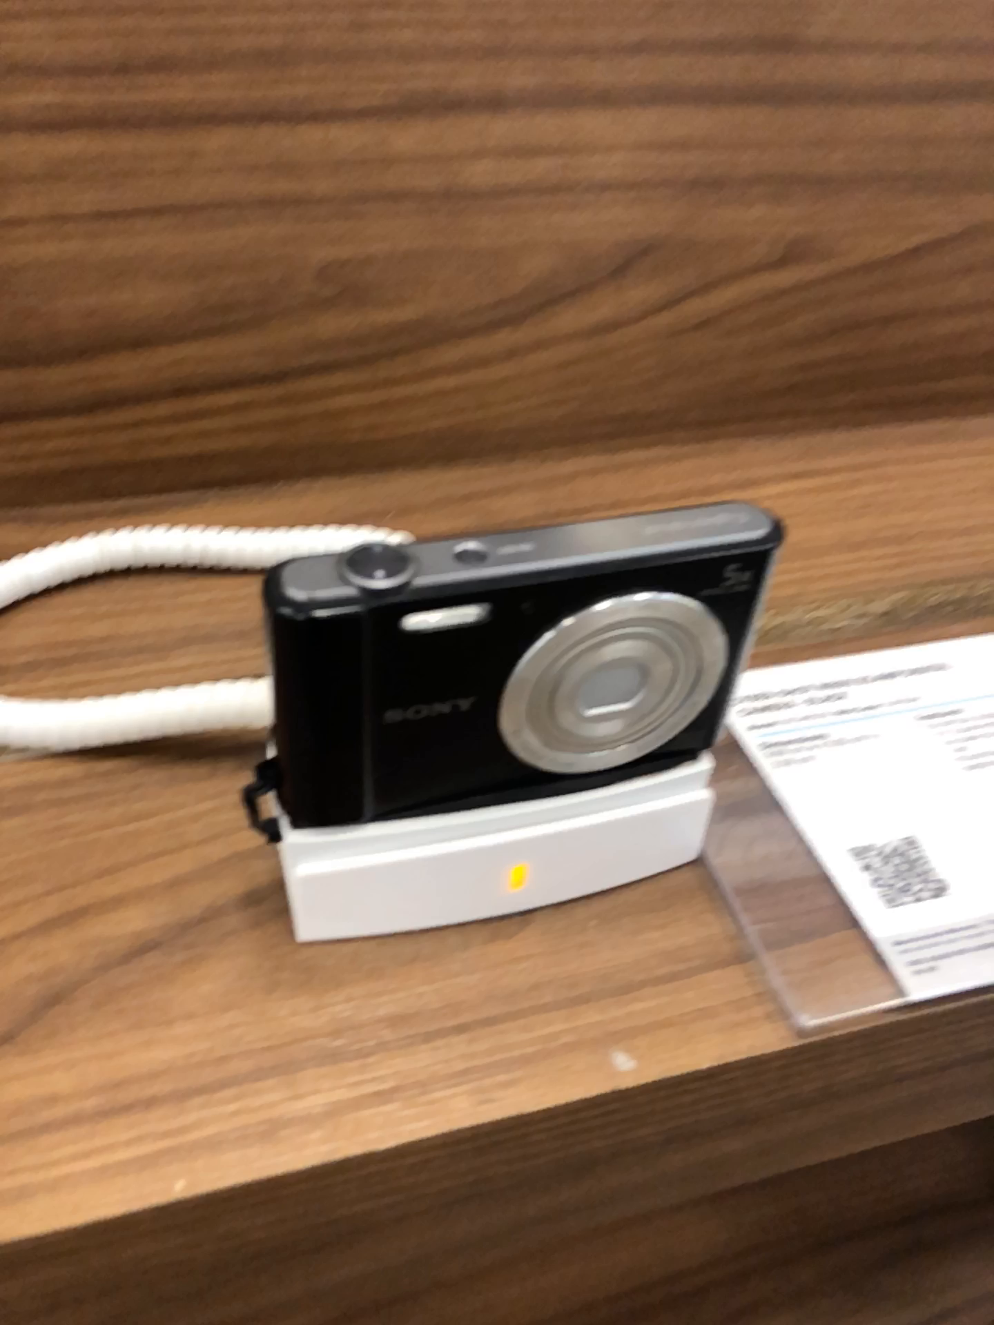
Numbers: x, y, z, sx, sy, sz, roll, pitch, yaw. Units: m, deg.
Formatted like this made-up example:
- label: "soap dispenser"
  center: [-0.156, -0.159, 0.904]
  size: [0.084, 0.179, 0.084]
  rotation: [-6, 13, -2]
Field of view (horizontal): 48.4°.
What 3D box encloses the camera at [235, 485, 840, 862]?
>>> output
- label: "camera"
  center: [0.006, 0.002, 0.205]
  size: [0.100, 0.060, 0.020]
  rotation: [-8, 46, -15]
